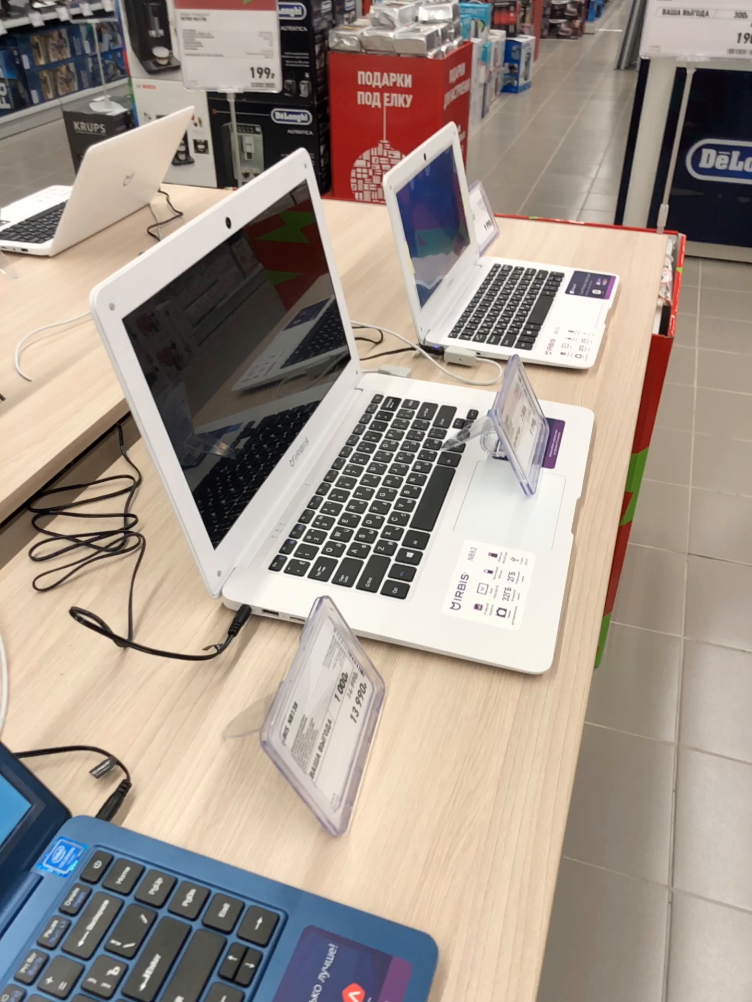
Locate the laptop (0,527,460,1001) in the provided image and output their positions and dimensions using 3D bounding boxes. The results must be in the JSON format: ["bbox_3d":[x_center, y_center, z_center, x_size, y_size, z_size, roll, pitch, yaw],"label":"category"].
[{"bbox_3d":[-0.166,0.186,0.251,0.310,0.158,0.300,12,36,15],"label":"laptop"}]

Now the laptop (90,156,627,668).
[{"bbox_3d":[0.021,-0.099,0.619,0.279,0.207,0.335,10,37,13],"label":"laptop"}]

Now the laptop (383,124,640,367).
[{"bbox_3d":[0.158,-0.302,0.938,0.221,0.167,0.261,11,38,15],"label":"laptop"}]
